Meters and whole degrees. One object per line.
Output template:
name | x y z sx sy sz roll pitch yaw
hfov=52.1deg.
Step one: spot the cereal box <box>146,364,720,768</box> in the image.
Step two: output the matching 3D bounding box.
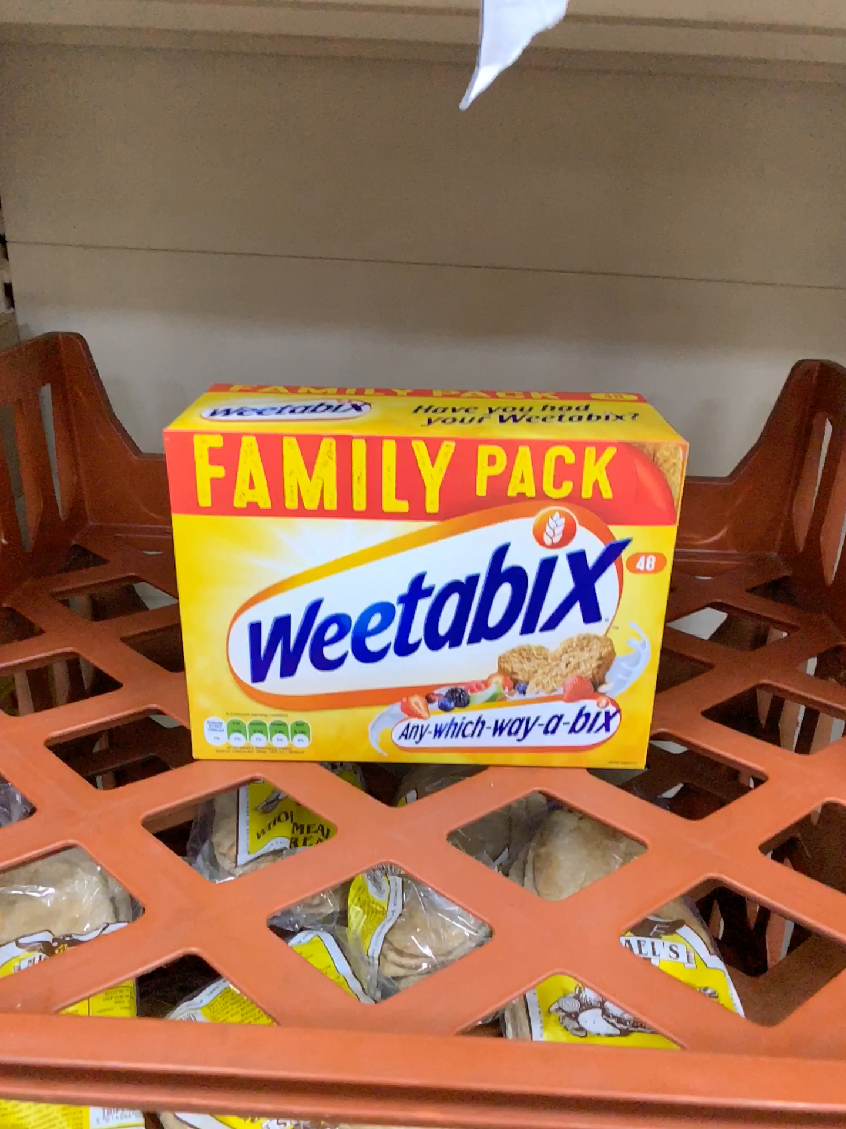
cereal box | 0.002 0.000 0.475 0.260 0.189 0.101 2 24 -2
